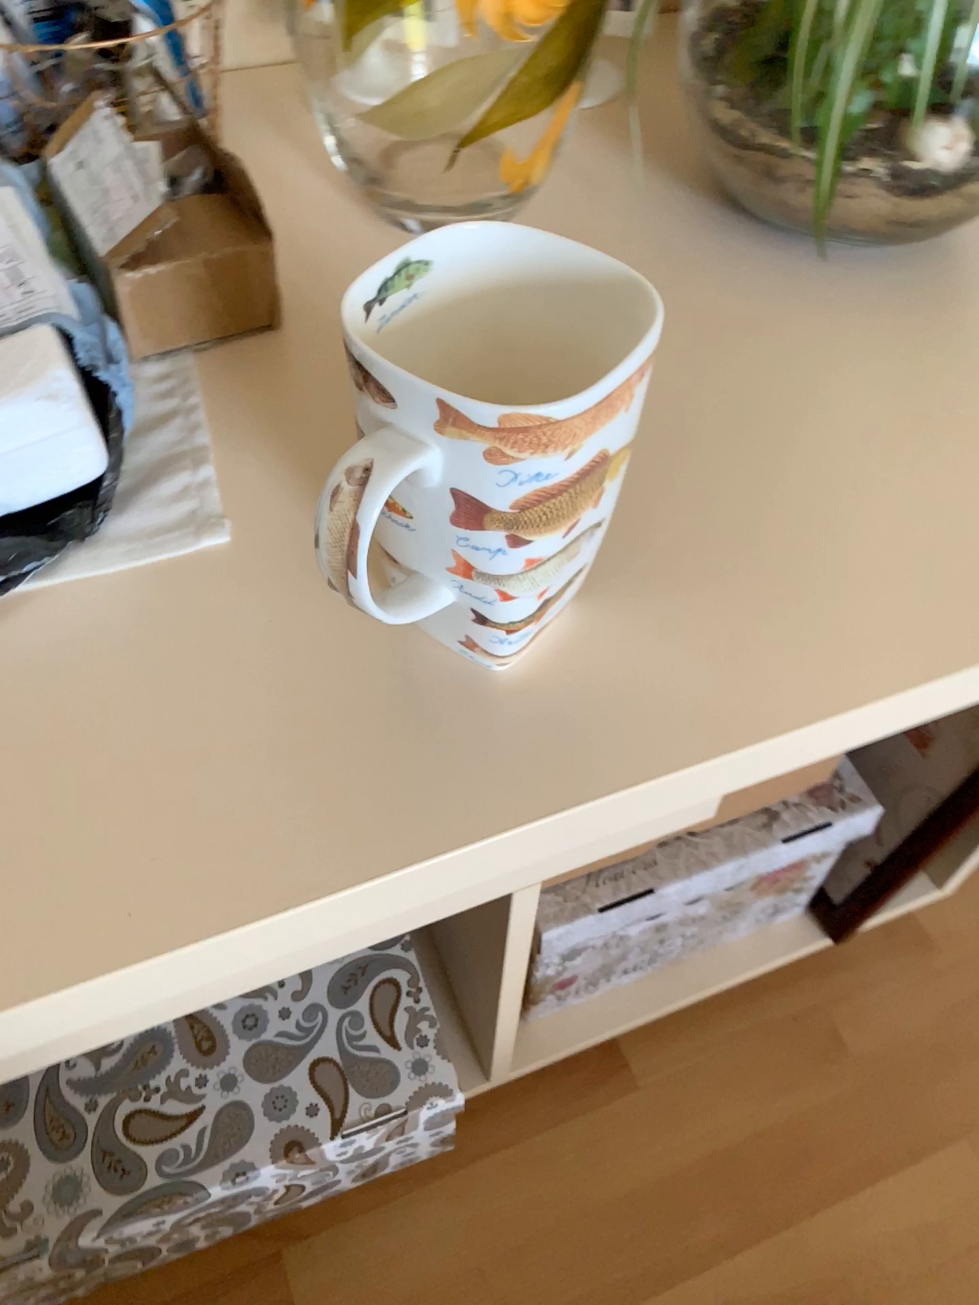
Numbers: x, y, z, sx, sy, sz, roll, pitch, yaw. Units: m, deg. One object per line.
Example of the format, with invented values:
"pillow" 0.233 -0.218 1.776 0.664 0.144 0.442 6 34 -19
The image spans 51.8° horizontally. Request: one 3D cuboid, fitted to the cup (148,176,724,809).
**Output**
"cup" -0.013 -0.055 0.341 0.100 0.129 0.141 32 56 21
